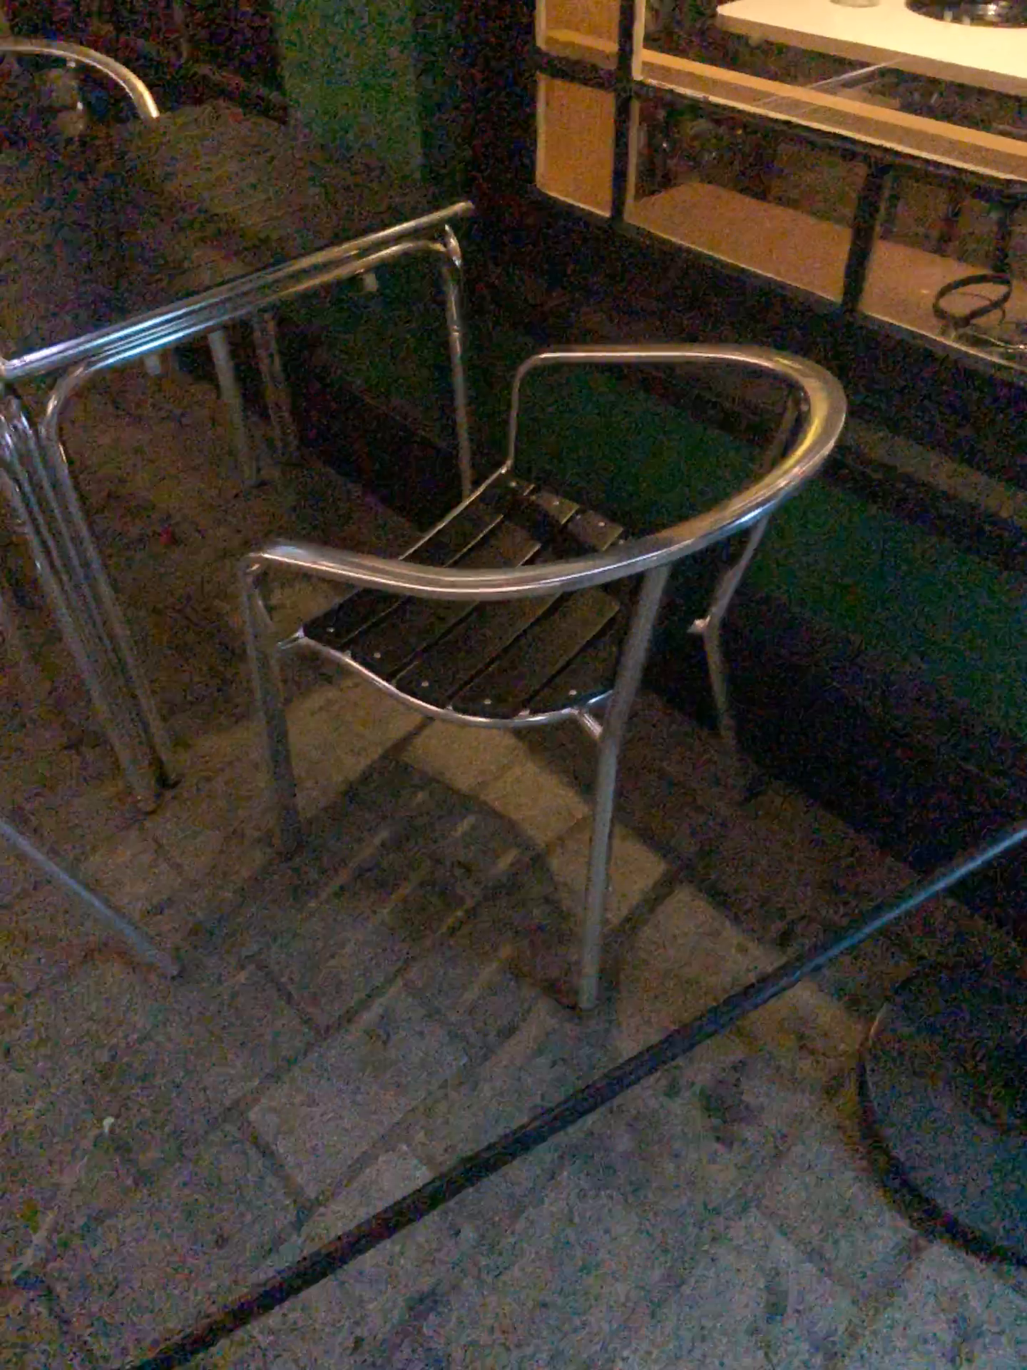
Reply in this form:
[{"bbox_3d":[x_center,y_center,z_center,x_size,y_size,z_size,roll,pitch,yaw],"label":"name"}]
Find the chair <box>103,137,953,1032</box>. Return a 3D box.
[{"bbox_3d":[0.046,-0.161,1.390,0.652,0.782,0.664,26,50,26],"label":"chair"}]
